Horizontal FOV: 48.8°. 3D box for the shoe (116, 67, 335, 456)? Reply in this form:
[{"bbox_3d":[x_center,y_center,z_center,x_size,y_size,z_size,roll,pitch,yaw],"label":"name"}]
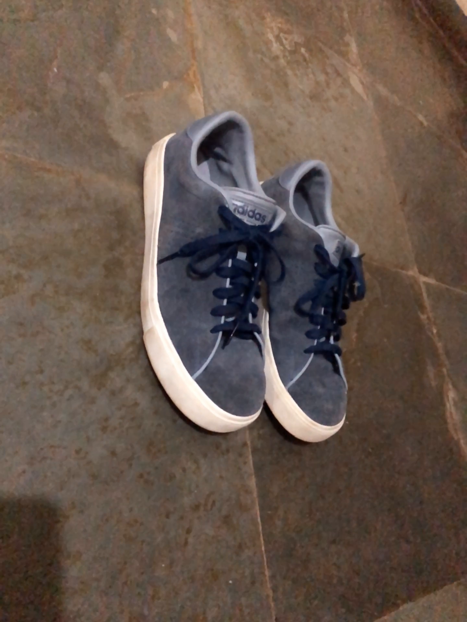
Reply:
[{"bbox_3d":[-0.013,-0.035,0.401,0.111,0.079,0.271,9,65,-41],"label":"shoe"}]

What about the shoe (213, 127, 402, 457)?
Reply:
[{"bbox_3d":[0.062,-0.016,0.480,0.111,0.079,0.281,12,63,-40],"label":"shoe"}]
